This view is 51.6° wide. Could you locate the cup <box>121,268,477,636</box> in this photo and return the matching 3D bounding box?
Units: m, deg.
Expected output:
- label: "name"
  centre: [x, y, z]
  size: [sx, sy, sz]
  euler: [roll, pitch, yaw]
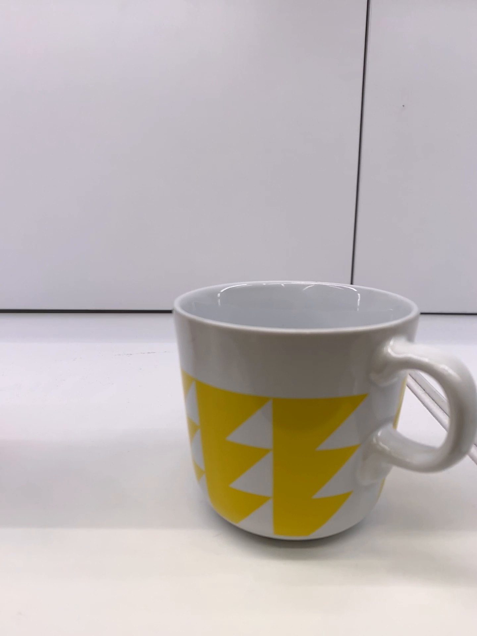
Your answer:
- label: "cup"
  centre: [0.026, 0.024, 0.164]
  size: [0.084, 0.065, 0.107]
  euler: [-10, 16, -40]
